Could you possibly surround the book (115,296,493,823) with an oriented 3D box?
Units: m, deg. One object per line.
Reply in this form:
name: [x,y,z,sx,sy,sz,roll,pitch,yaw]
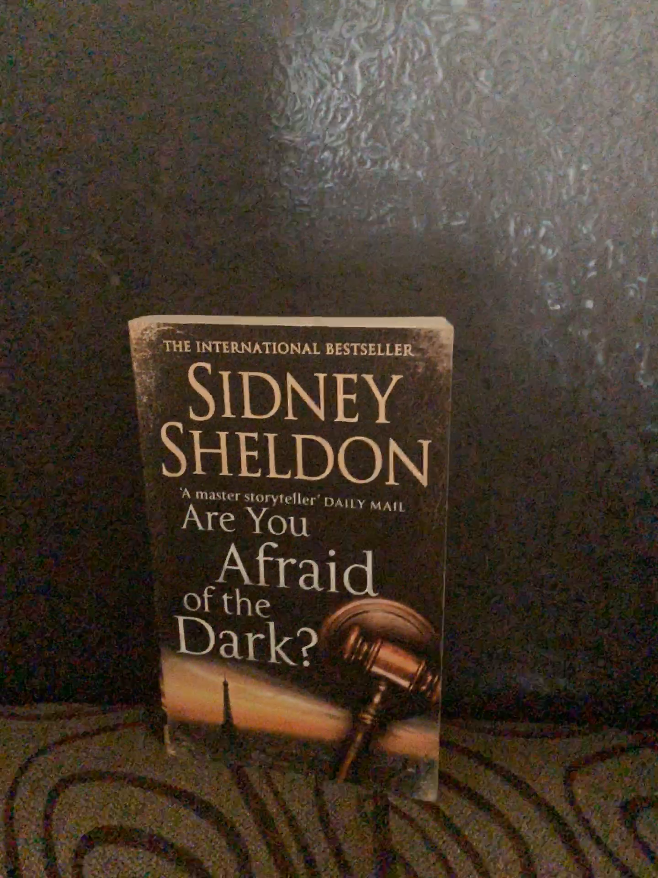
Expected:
book: [-0.011,0.043,0.255,0.120,0.179,0.040,5,15,8]
